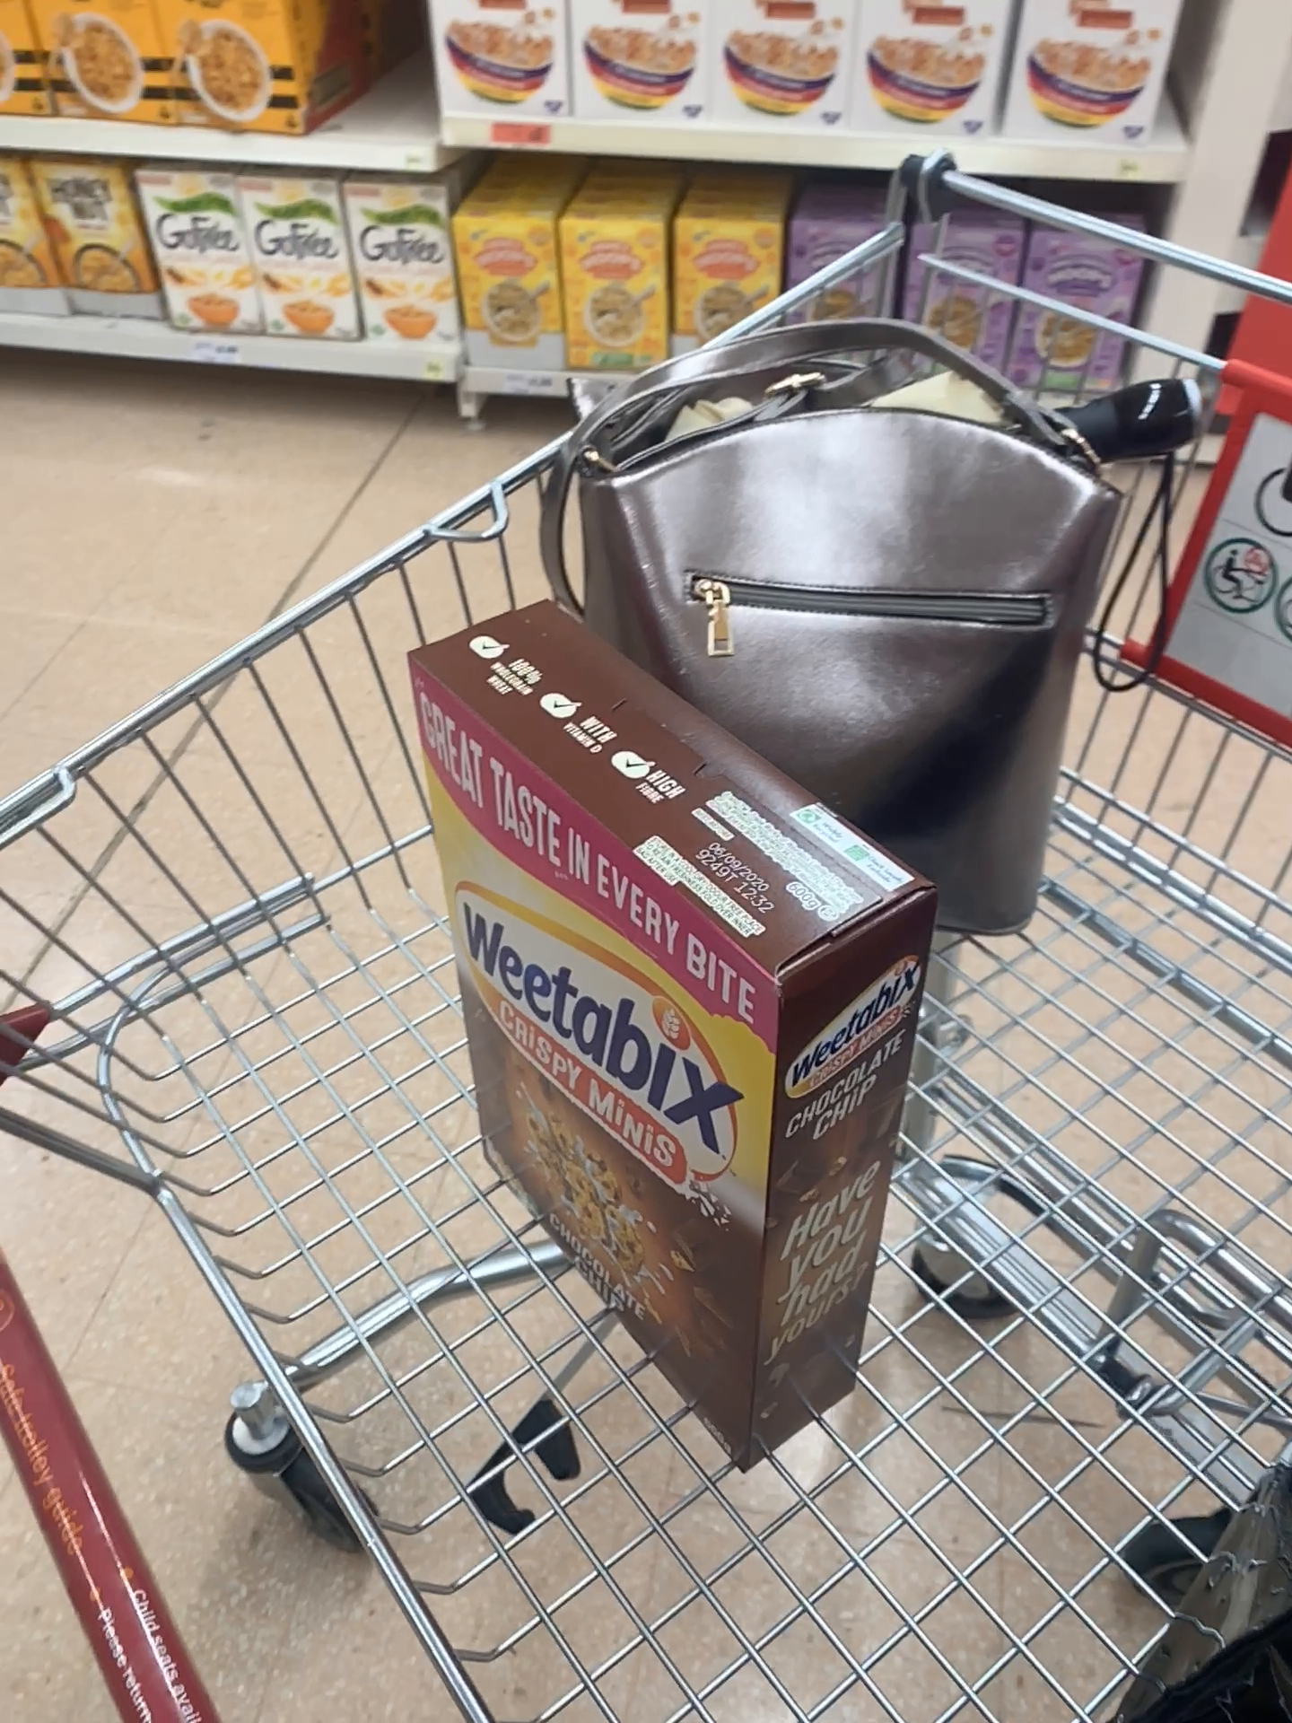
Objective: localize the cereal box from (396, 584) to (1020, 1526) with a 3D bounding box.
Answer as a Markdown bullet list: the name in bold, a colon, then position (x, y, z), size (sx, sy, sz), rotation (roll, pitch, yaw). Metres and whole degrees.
- **cereal box**: position (0.010, 0.089, 0.519), size (0.070, 0.327, 0.211), rotation (-30, 51, -27)
